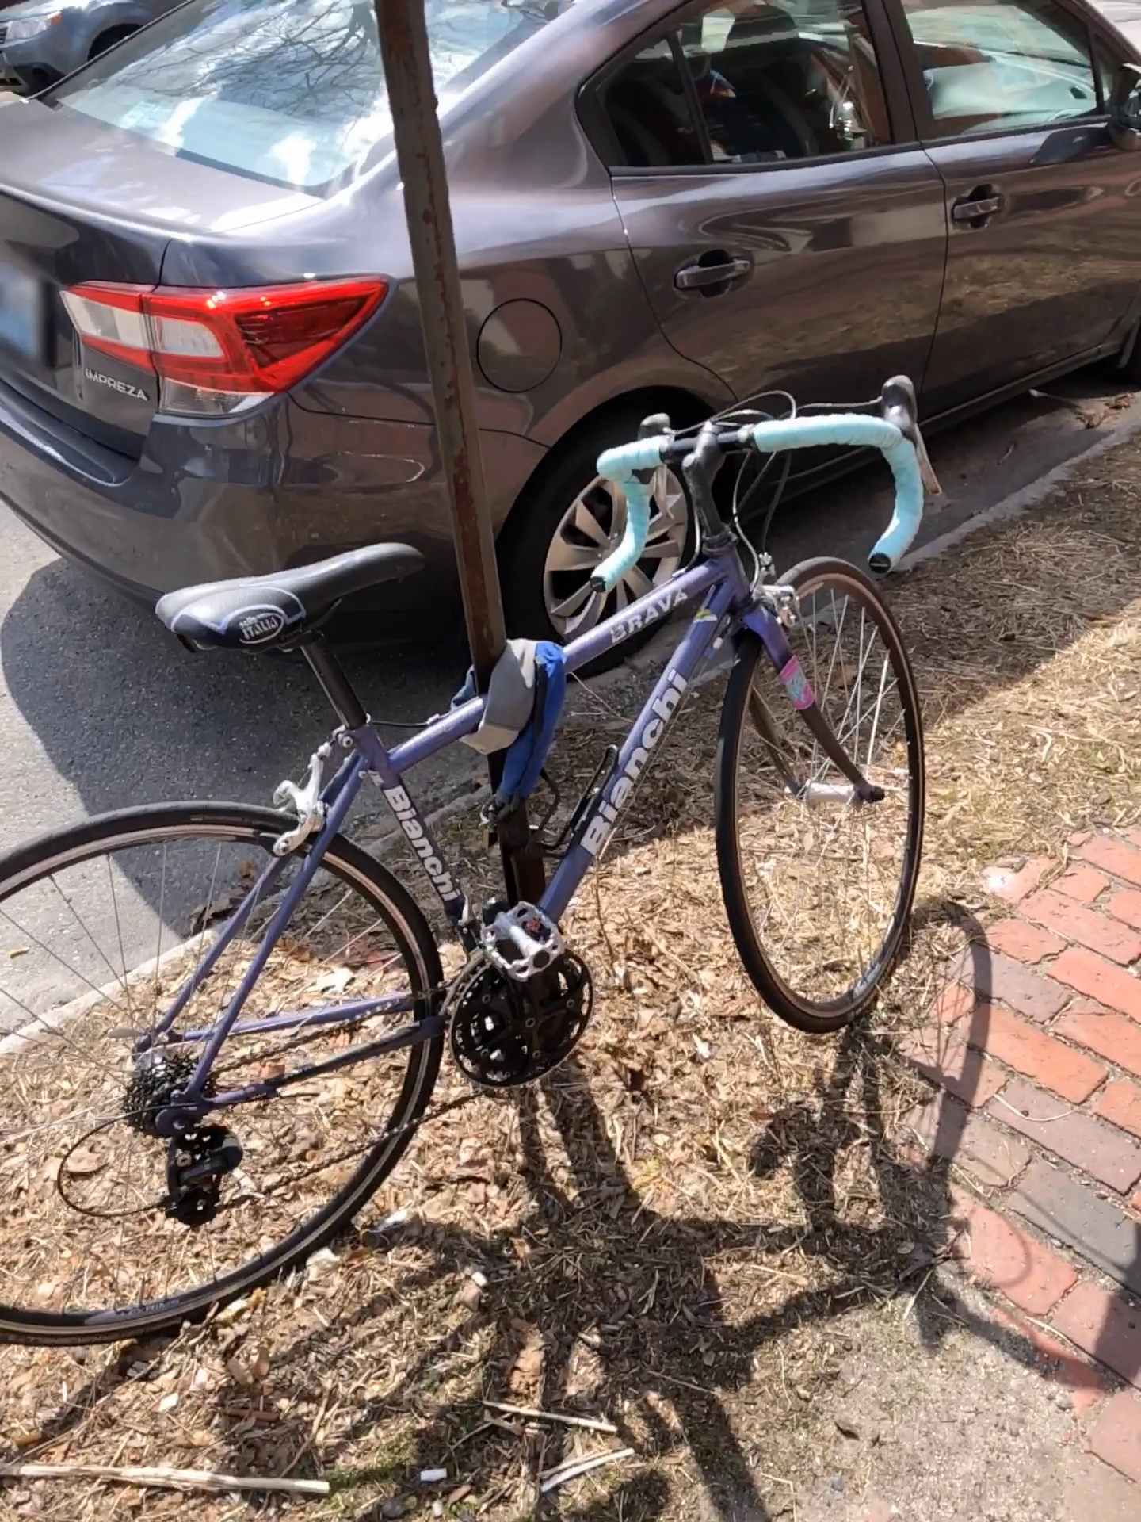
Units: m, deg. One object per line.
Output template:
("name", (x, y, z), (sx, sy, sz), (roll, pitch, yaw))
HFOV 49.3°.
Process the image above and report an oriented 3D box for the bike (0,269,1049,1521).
("bike", (-0.132, 0.042, 1.506), (1.451, 0.734, 0.461), (-27, 37, -24))
